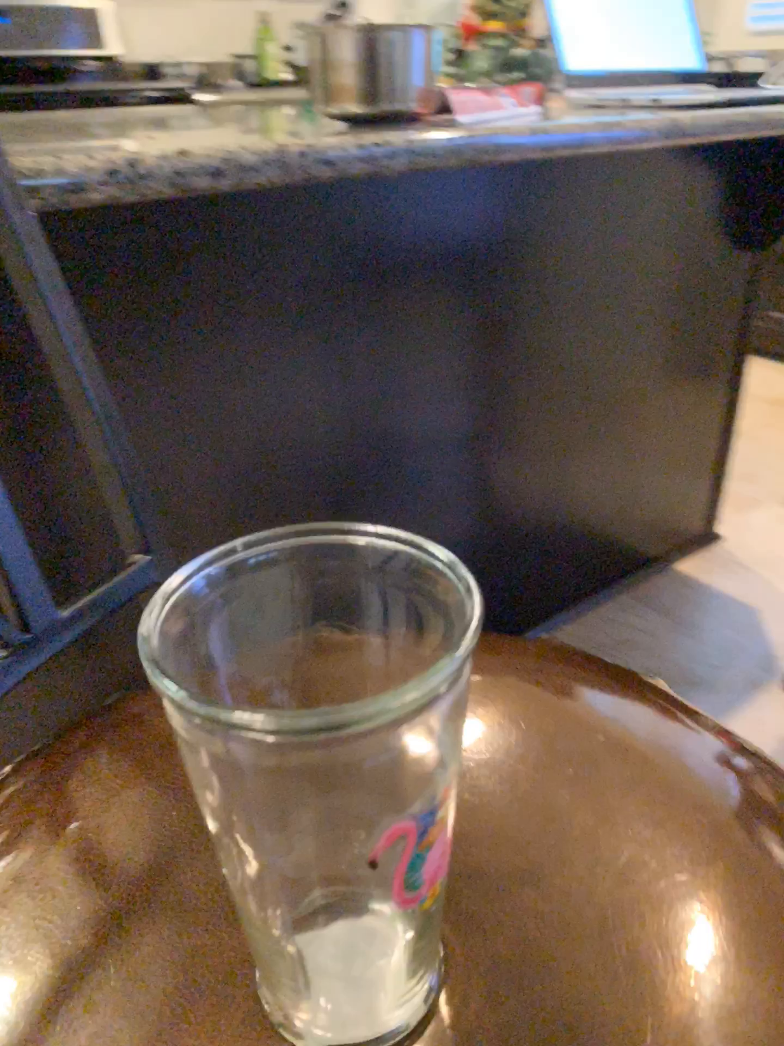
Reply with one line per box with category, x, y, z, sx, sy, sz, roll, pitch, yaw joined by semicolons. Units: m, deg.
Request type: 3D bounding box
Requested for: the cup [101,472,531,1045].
cup;-0.014;0.076;0.243;0.080;0.149;0.081;-1;28;1
